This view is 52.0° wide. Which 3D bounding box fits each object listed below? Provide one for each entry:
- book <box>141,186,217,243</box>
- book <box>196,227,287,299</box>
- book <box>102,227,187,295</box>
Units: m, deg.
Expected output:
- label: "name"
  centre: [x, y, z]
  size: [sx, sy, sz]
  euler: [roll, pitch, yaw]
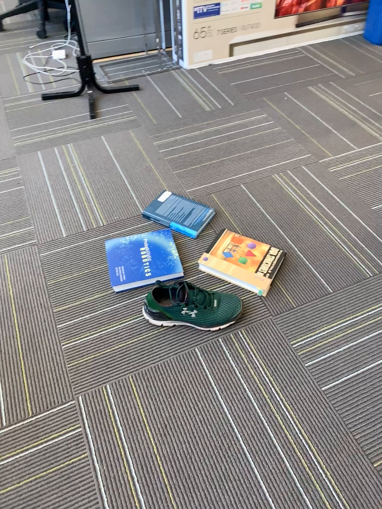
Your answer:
- label: "book"
  centre: [-0.047, -0.166, 1.571]
  size: [0.247, 0.040, 0.177]
  euler: [25, 53, 17]
- label: "book"
  centre: [0.166, 0.022, 1.293]
  size: [0.242, 0.040, 0.185]
  euler: [22, 52, 19]
- label: "book"
  centre: [-0.158, 0.015, 1.295]
  size: [0.242, 0.040, 0.205]
  euler: [-12, 49, -10]
